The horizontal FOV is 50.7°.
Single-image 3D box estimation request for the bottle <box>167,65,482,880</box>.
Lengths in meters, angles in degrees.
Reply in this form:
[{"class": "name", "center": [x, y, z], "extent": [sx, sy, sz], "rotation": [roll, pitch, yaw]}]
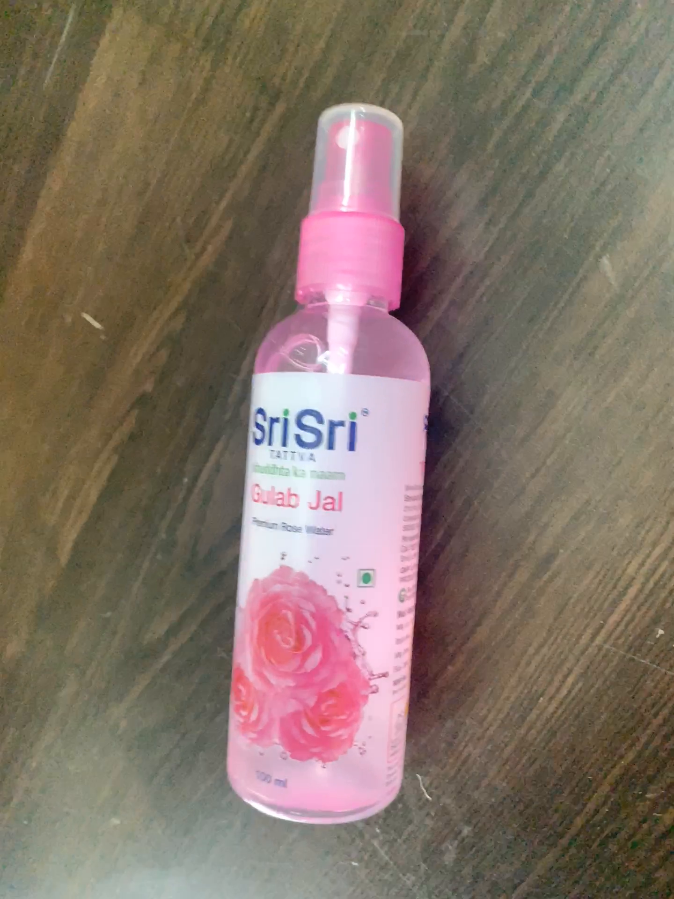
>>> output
[{"class": "bottle", "center": [-0.002, 0.004, 0.149], "extent": [0.040, 0.040, 0.140], "rotation": [6, 93, 37]}]
